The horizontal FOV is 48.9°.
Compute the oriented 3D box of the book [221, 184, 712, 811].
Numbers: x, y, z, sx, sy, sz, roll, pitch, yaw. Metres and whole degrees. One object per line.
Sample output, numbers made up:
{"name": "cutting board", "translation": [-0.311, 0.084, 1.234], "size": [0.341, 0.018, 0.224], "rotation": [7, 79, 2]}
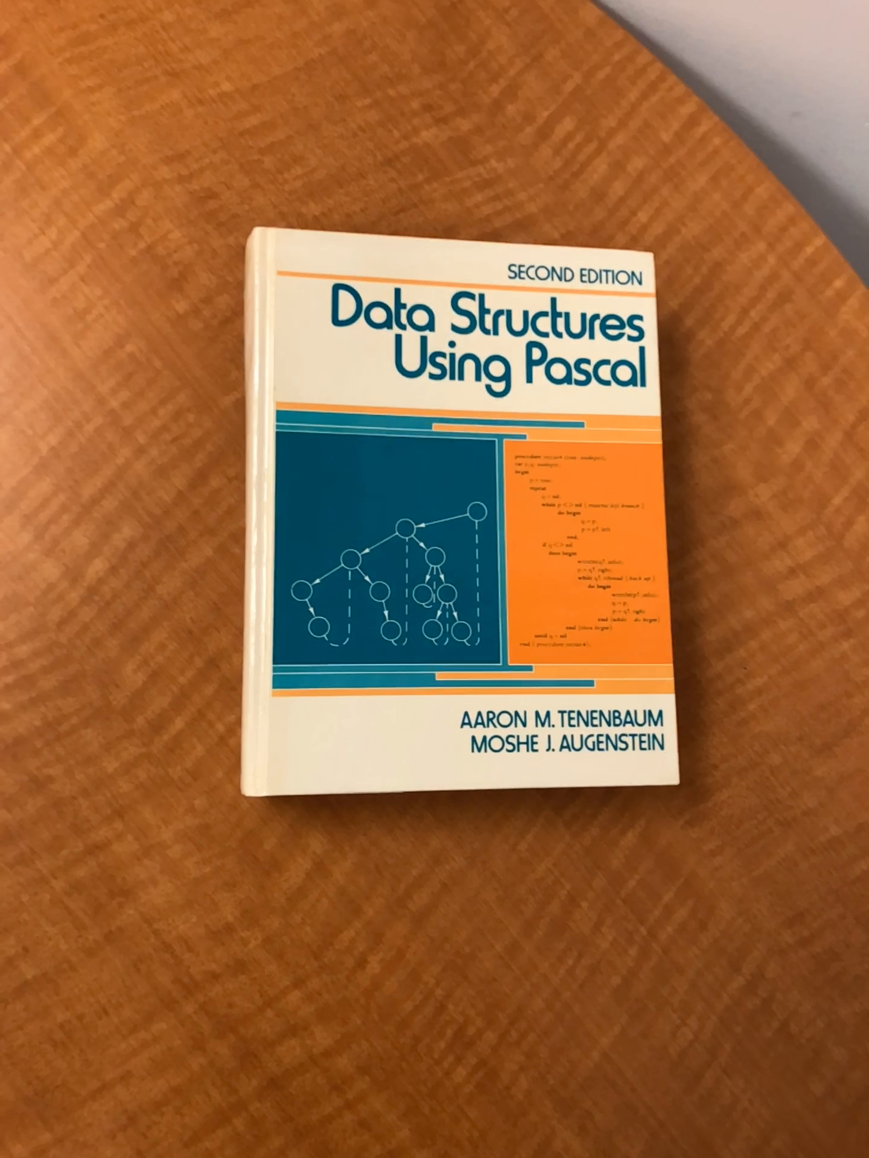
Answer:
{"name": "book", "translation": [0.010, -0.036, 0.427], "size": [0.200, 0.050, 0.260], "rotation": [0, 81, -9]}
